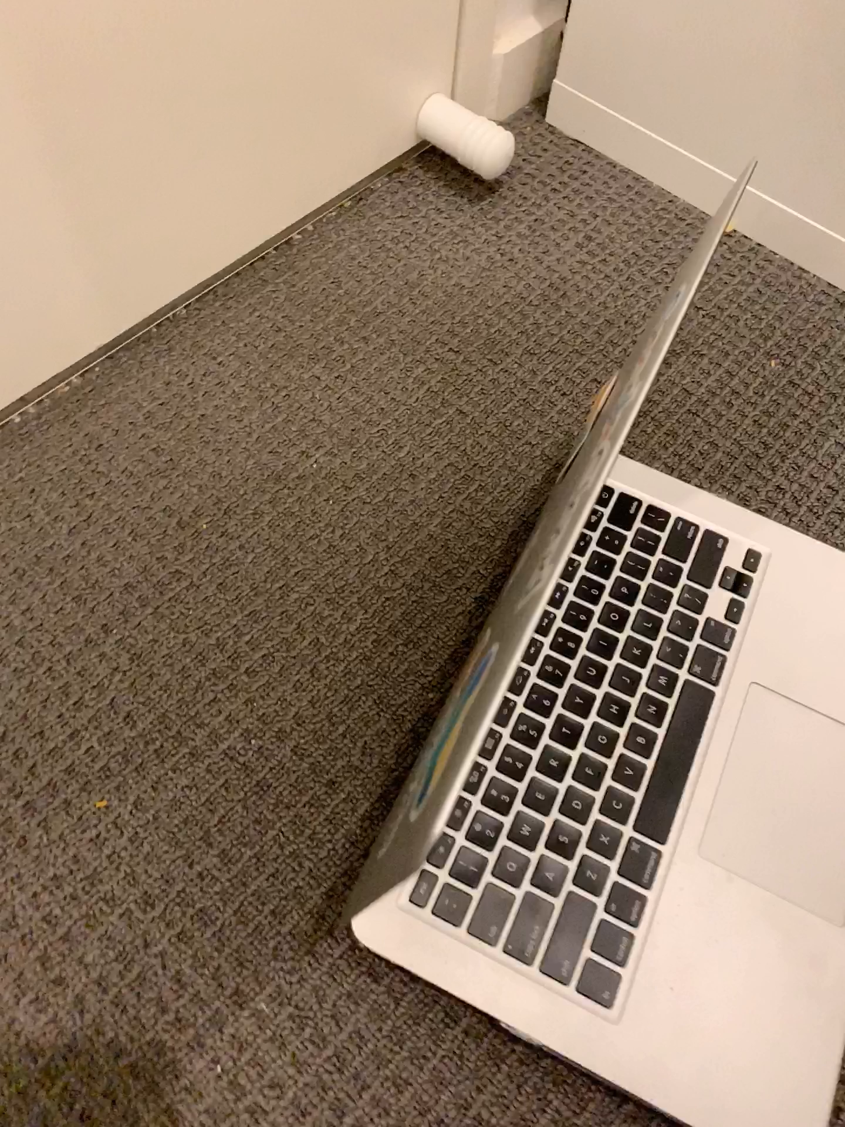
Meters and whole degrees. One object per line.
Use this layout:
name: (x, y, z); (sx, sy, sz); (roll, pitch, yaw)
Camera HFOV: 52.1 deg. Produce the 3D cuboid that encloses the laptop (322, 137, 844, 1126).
laptop: (0.139, 0.042, 0.366); (0.226, 0.215, 0.323); (24, 61, 9)
